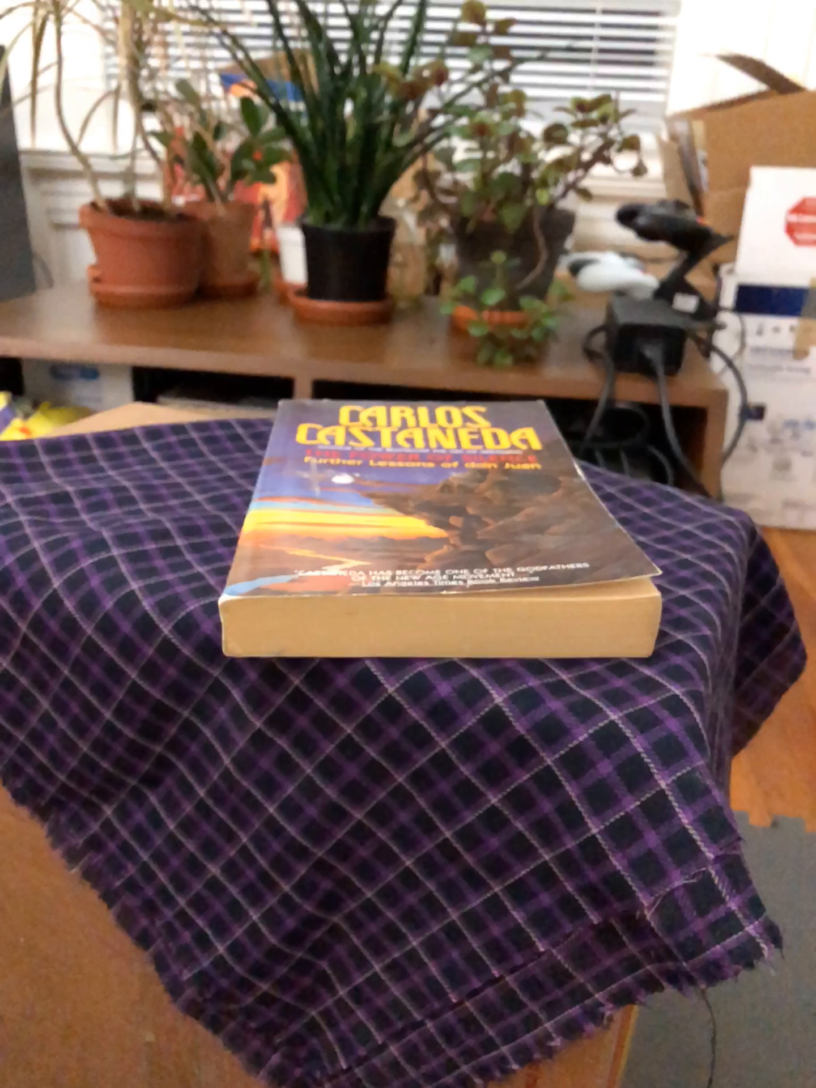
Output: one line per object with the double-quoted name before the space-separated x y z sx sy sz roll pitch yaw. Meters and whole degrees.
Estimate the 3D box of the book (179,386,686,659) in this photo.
"book" 0.005 -0.023 0.373 0.150 0.020 0.221 1 26 -2
